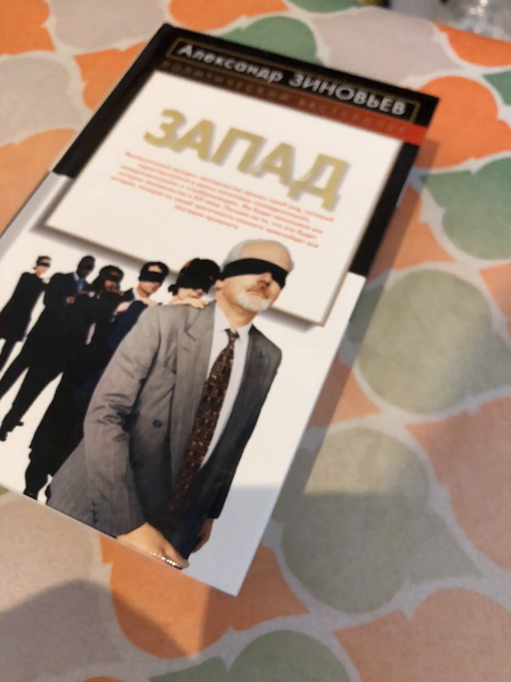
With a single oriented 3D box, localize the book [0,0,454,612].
[{"bbox_3d":[-0.025,-0.037,0.227,0.140,0.040,0.221,21,65,12],"label":"book"}]
